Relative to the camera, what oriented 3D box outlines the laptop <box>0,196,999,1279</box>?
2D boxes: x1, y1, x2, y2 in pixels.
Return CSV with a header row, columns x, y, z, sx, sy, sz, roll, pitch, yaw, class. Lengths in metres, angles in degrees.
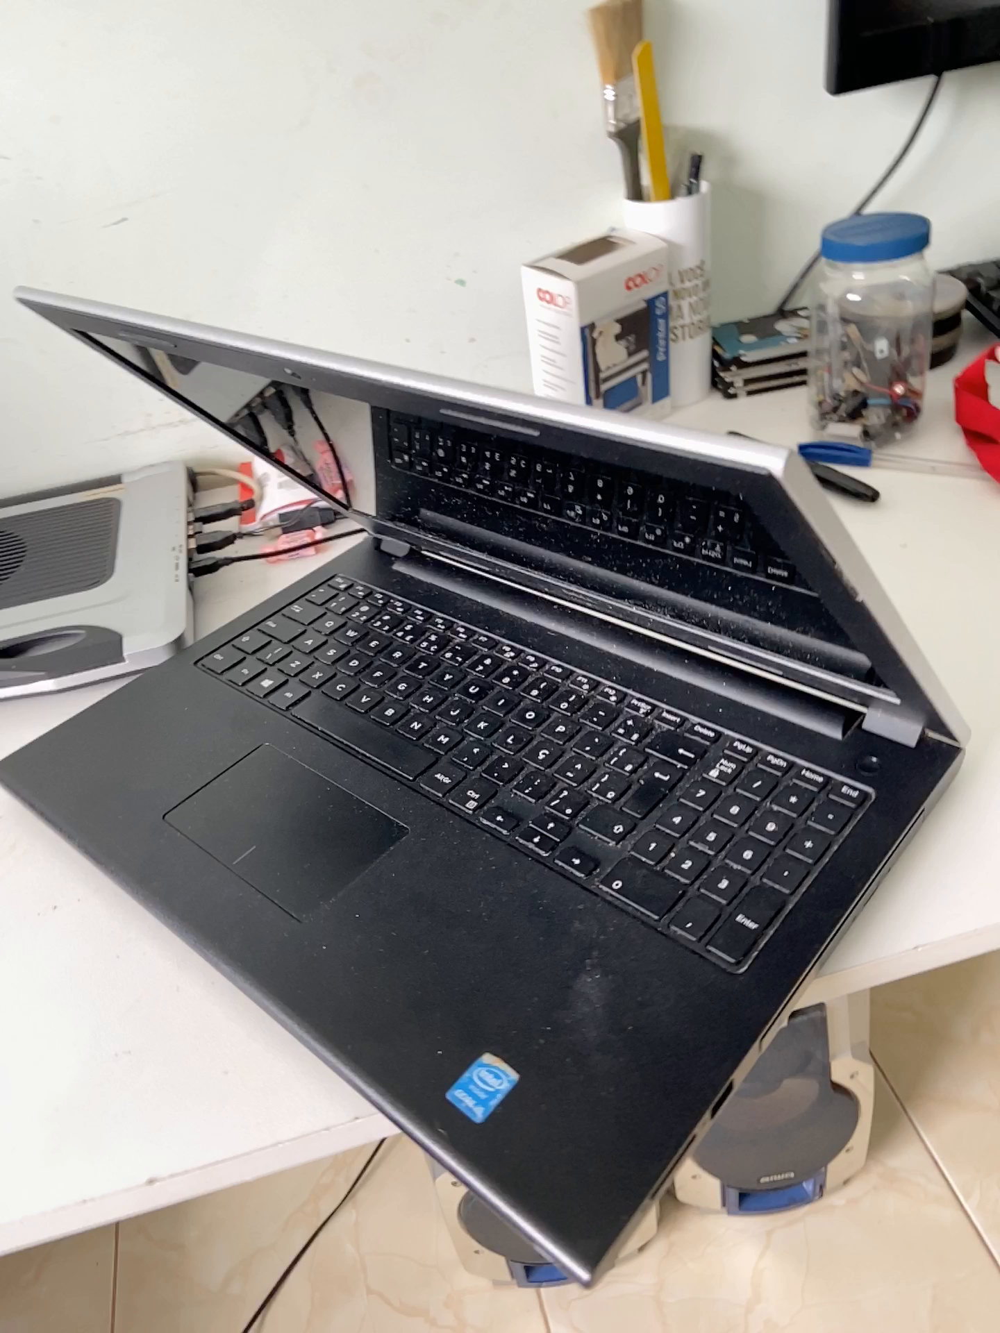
x,y,z,sx,sy,sz,roll,pitch,yaw,class
-0.036,-0.034,0.411,0.375,0.204,0.258,23,48,36,laptop
